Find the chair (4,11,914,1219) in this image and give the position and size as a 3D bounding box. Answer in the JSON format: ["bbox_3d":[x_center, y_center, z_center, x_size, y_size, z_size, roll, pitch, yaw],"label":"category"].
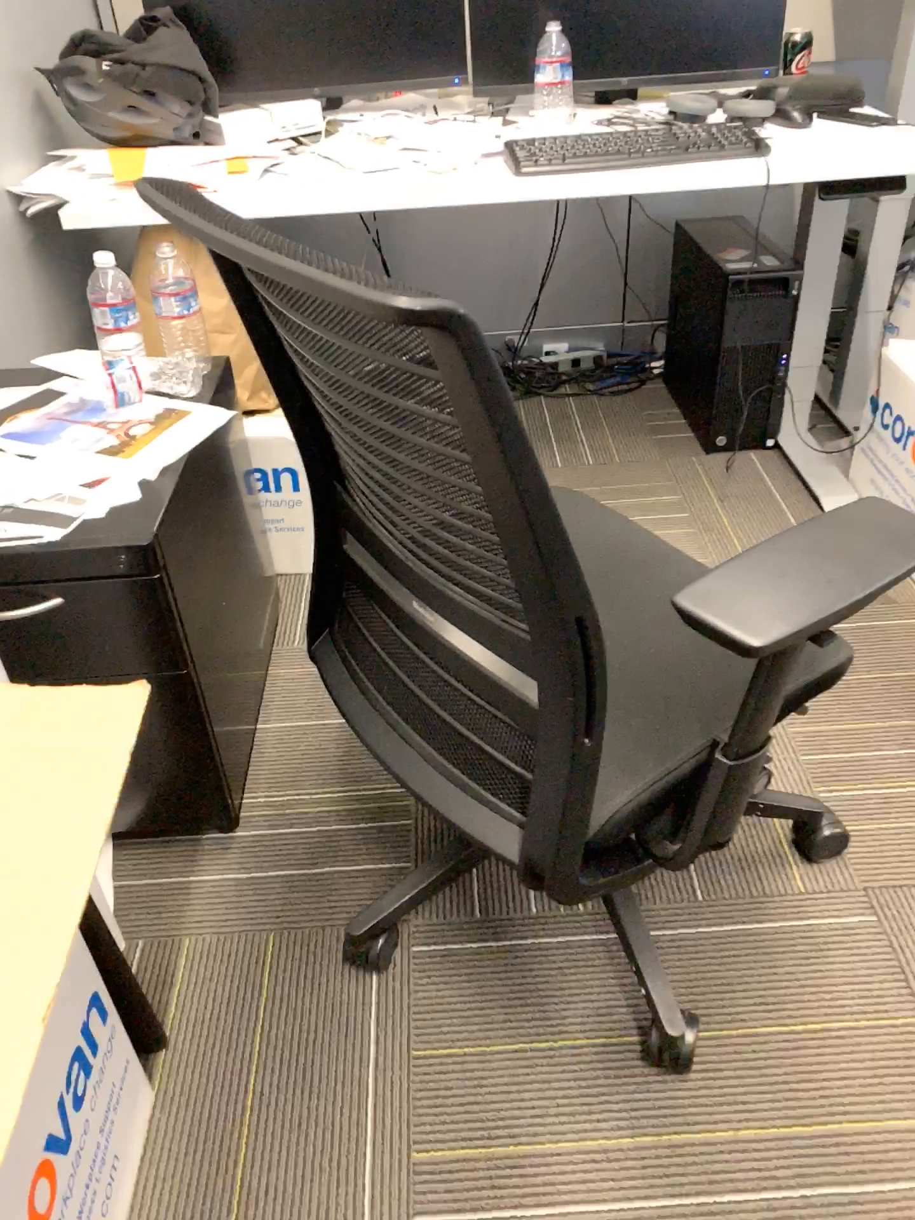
[{"bbox_3d":[0.119,-0.061,1.013,0.681,0.914,0.663,-29,43,-29],"label":"chair"}]
